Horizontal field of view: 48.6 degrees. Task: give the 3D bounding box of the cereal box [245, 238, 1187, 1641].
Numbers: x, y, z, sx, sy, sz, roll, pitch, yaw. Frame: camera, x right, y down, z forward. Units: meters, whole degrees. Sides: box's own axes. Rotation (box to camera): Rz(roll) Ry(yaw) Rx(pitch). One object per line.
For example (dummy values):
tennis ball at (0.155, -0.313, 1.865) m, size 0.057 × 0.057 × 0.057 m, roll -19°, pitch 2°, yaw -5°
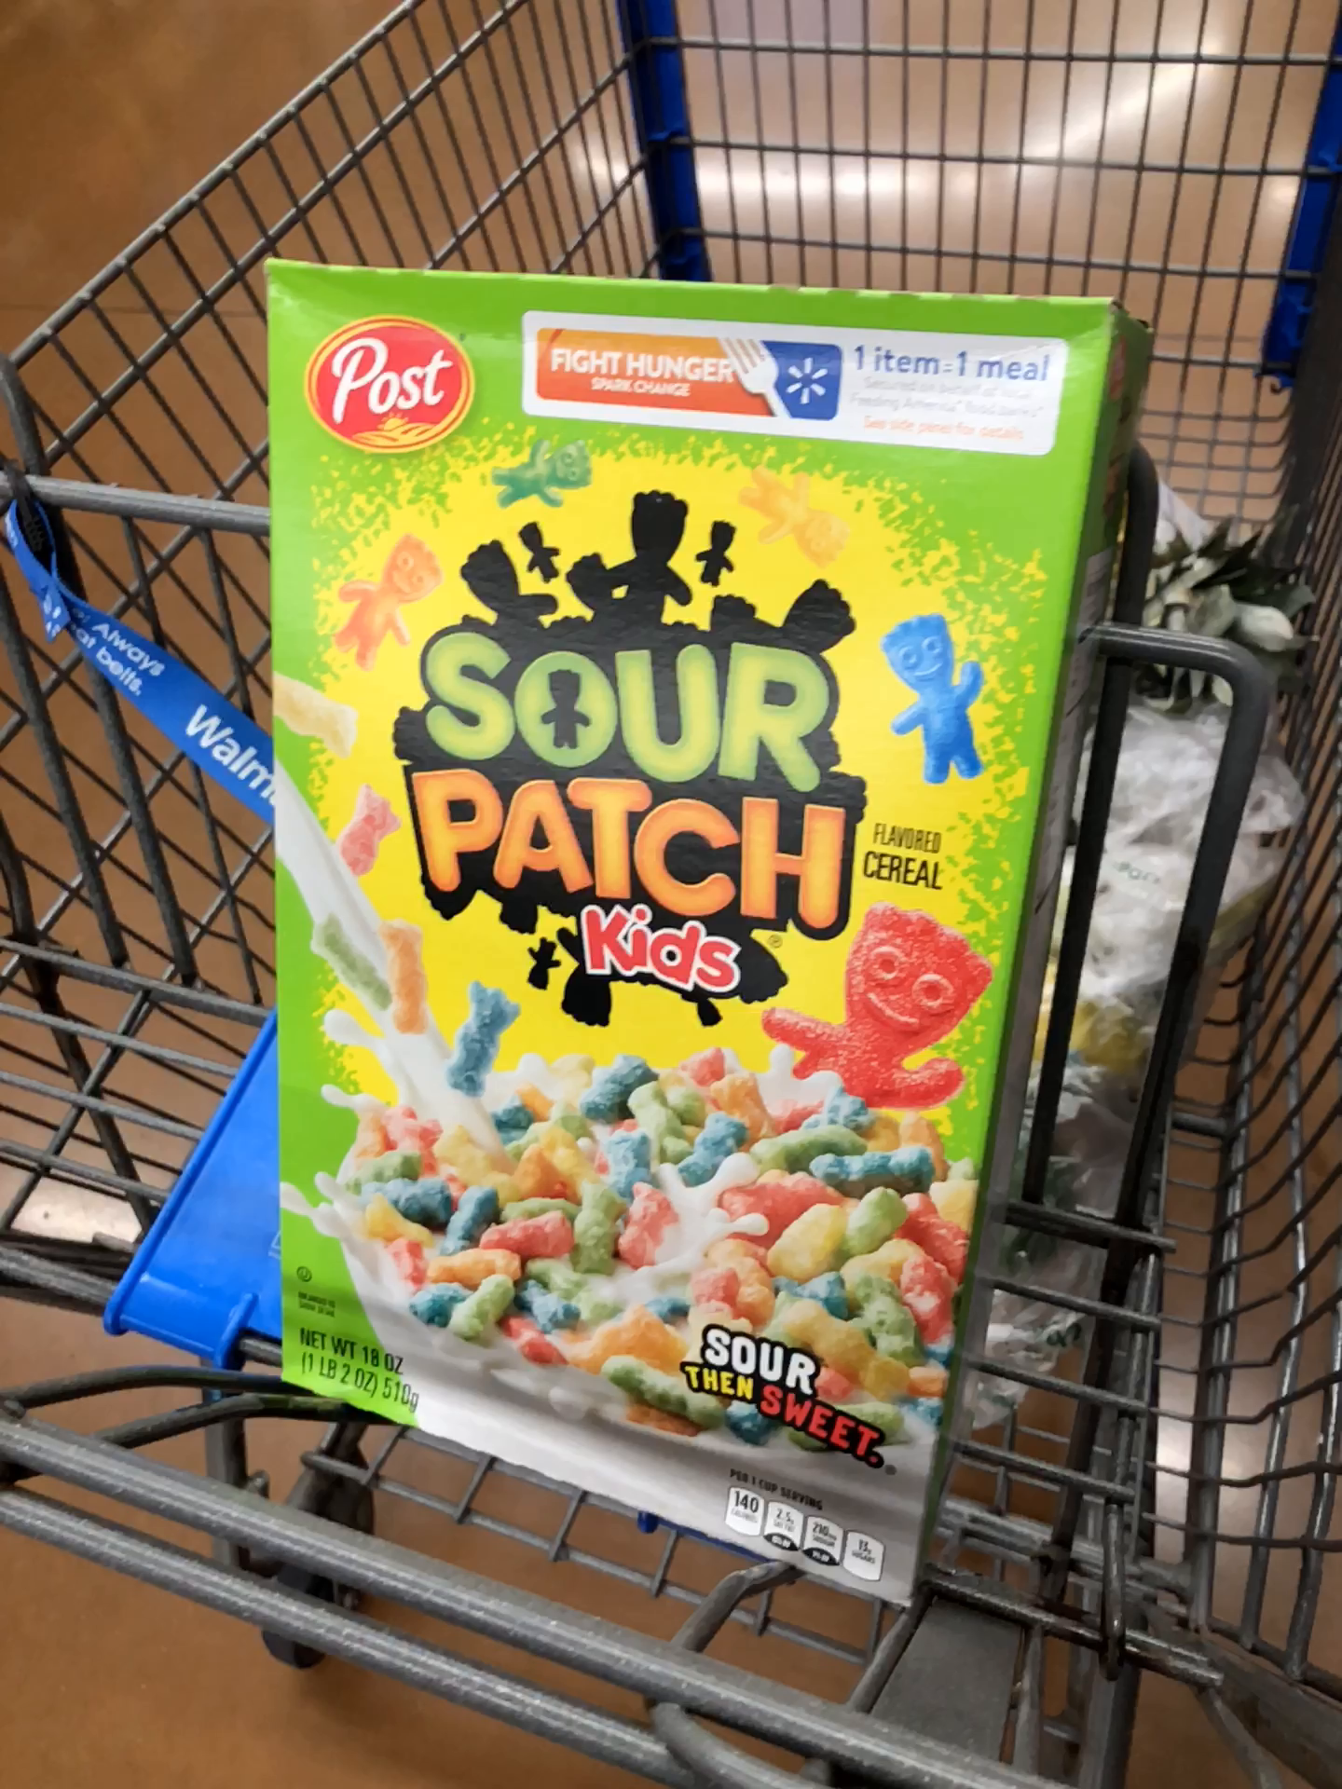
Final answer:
cereal box at (0.001, 0.008, 0.391) m, size 0.200 × 0.320 × 0.080 m, roll 11°, pitch 20°, yaw 20°
